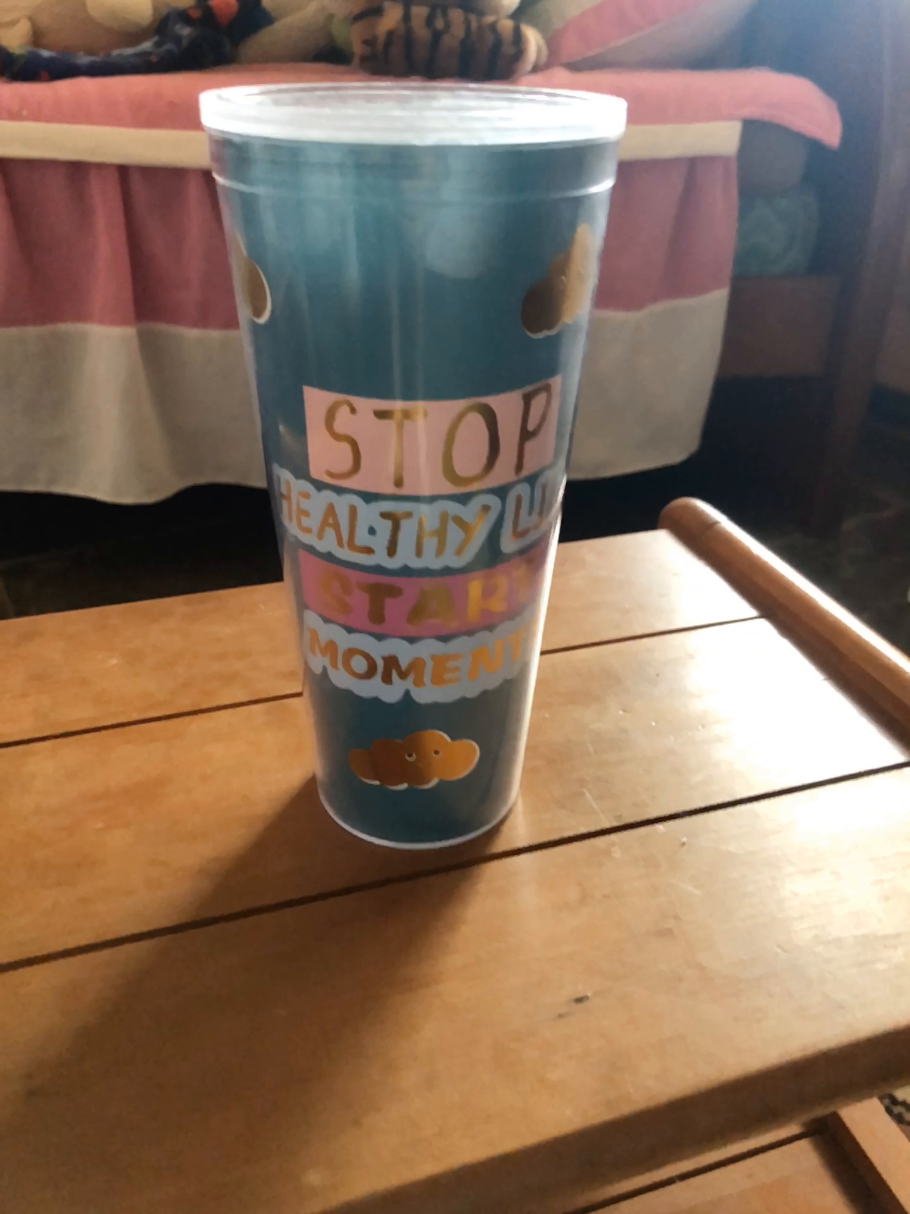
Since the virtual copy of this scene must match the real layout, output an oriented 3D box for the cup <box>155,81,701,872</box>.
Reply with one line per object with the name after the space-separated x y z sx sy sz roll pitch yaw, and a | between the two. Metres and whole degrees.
-0.012 -0.037 0.270 0.100 0.179 0.101 1 29 -1 | cup
